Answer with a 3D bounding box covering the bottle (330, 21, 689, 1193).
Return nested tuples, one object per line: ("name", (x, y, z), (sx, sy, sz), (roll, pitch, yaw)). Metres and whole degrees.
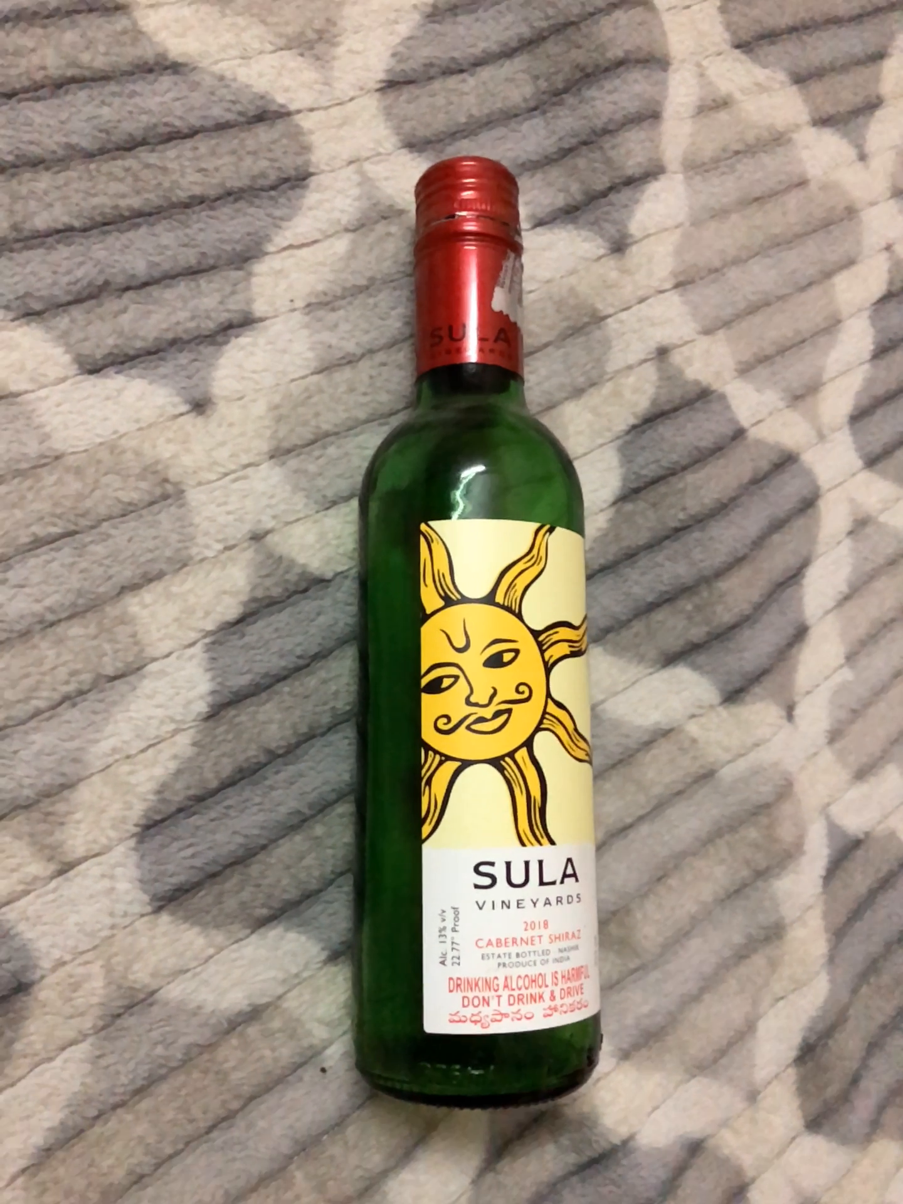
("bottle", (0.013, -0.004, 0.230), (0.060, 0.050, 0.230), (5, 81, -23))
